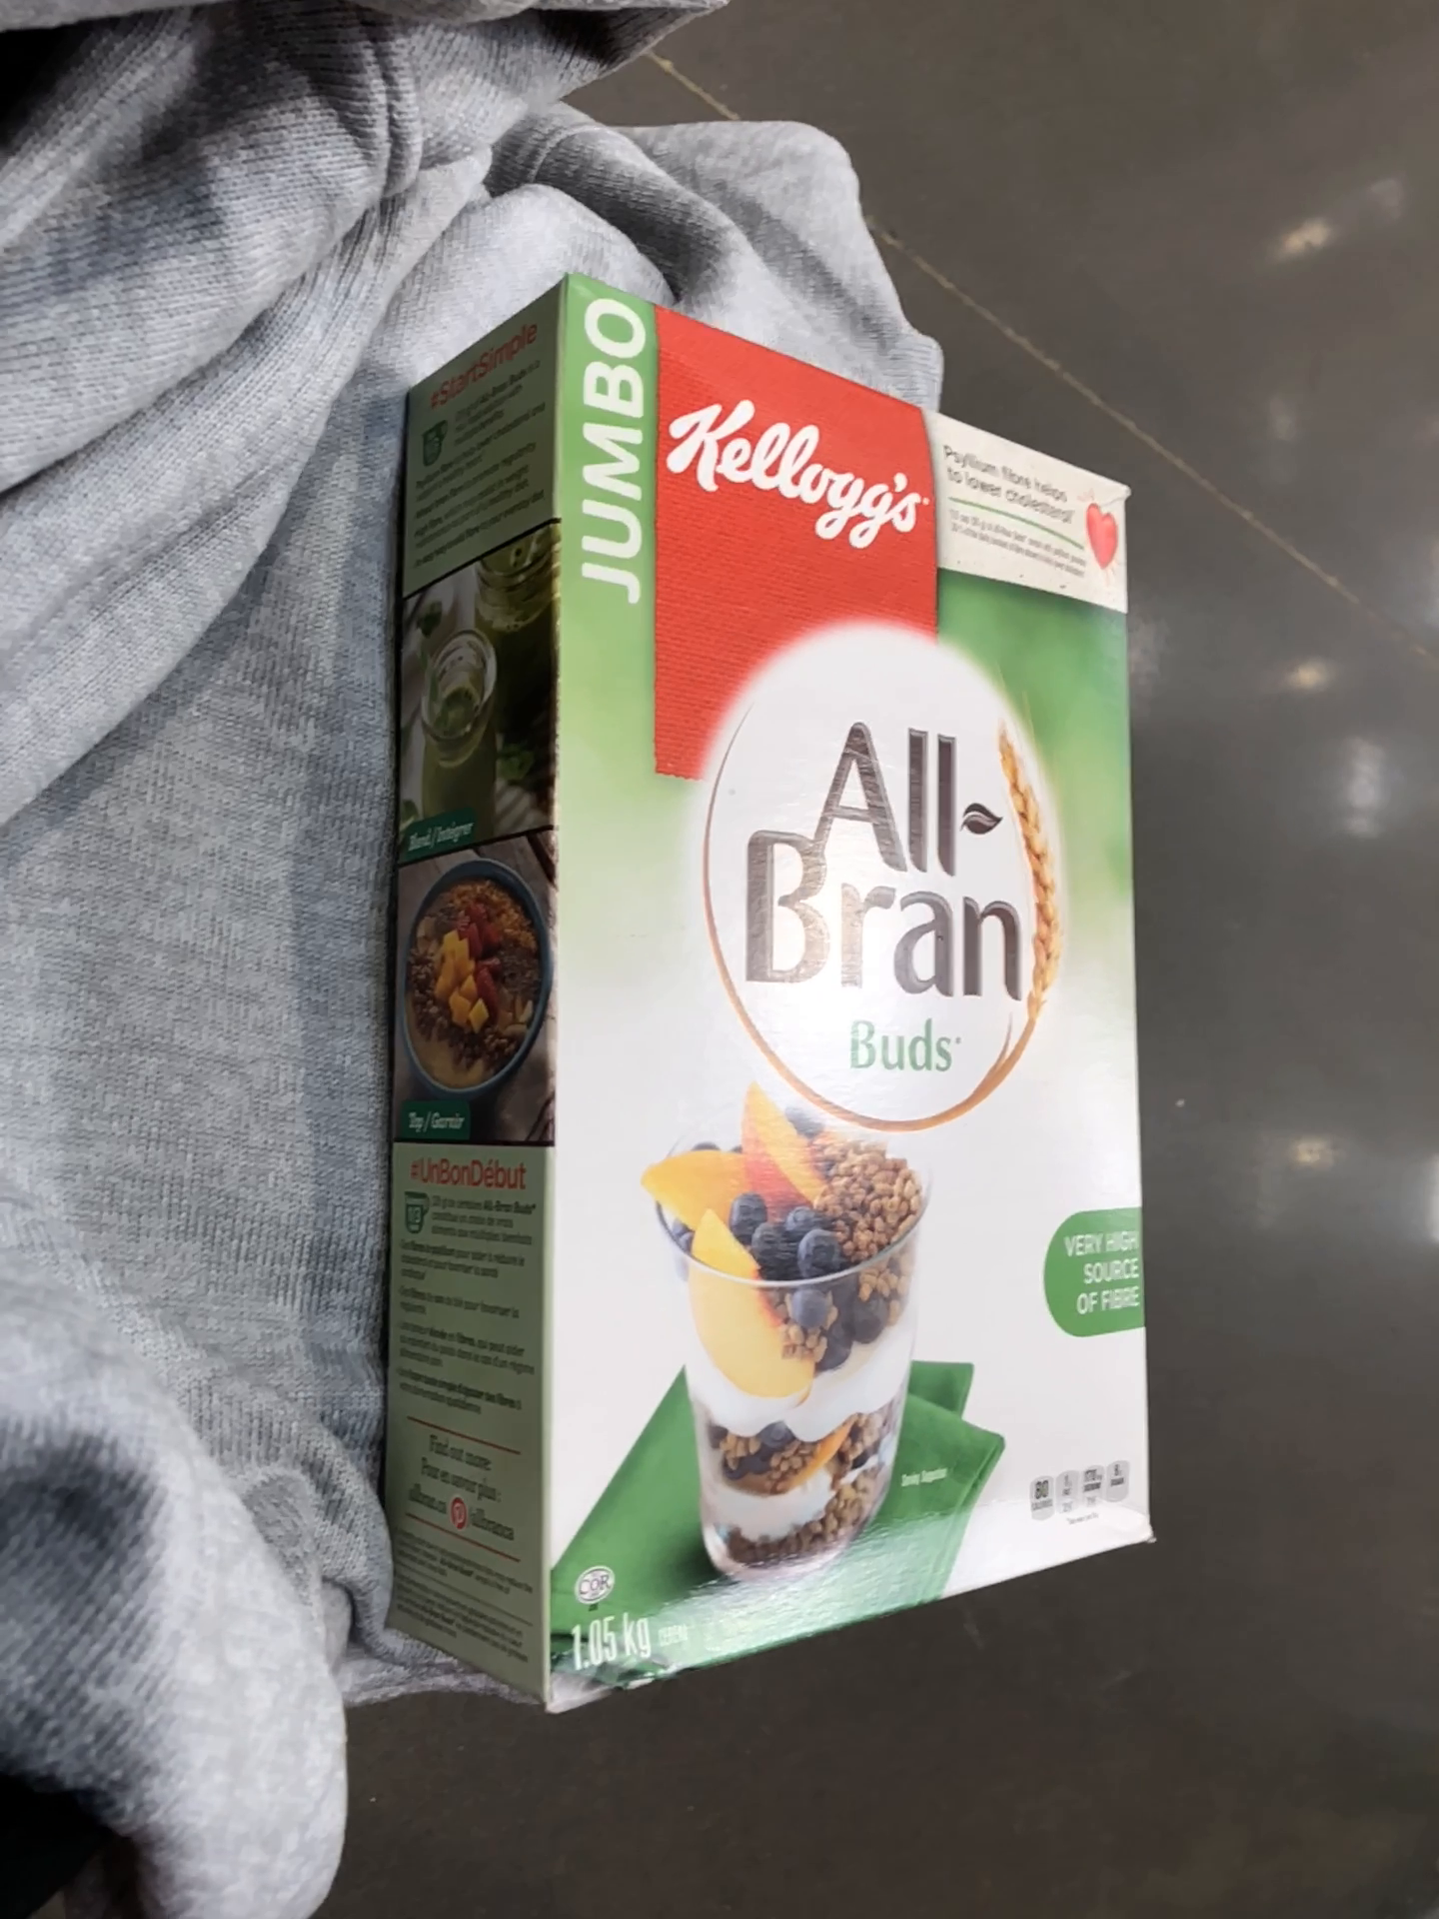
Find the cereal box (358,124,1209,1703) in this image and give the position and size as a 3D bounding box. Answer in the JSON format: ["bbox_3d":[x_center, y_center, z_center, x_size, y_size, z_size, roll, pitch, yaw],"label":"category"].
[{"bbox_3d":[0.021,-0.008,0.389,0.201,0.070,0.300,3,83,-37],"label":"cereal box"}]
